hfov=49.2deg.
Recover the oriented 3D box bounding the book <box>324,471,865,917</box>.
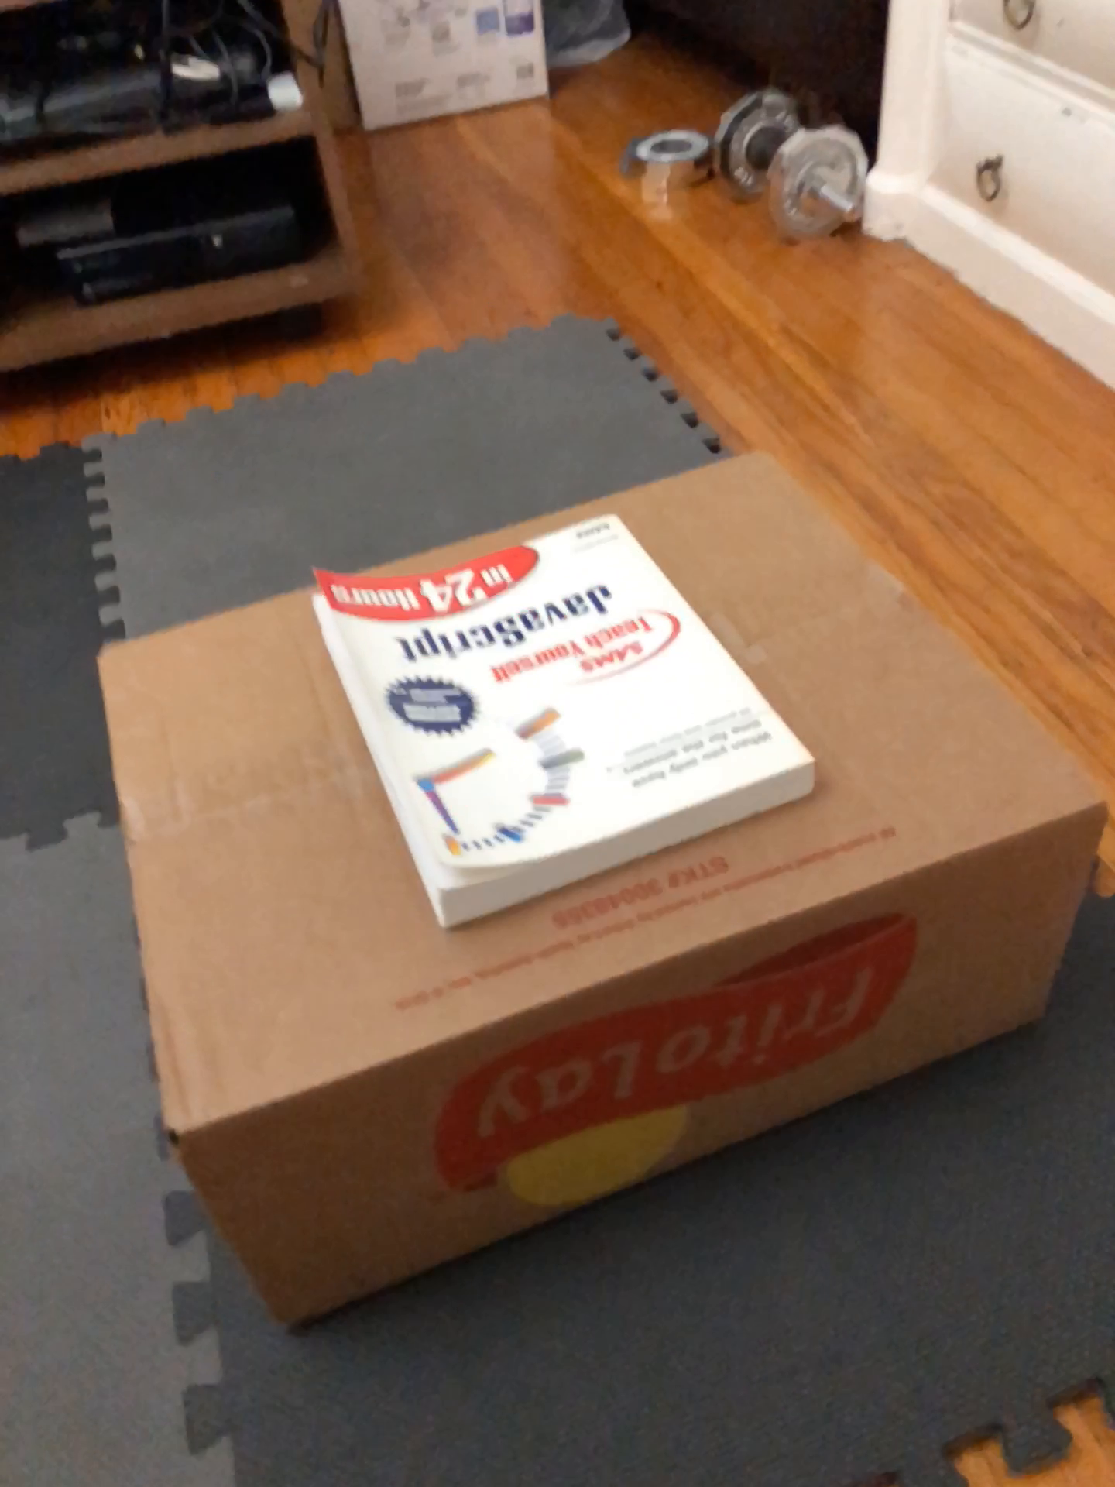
[{"bbox_3d":[0.007,-0.043,0.638,0.200,0.030,0.241,-20,47,-12],"label":"book"}]
